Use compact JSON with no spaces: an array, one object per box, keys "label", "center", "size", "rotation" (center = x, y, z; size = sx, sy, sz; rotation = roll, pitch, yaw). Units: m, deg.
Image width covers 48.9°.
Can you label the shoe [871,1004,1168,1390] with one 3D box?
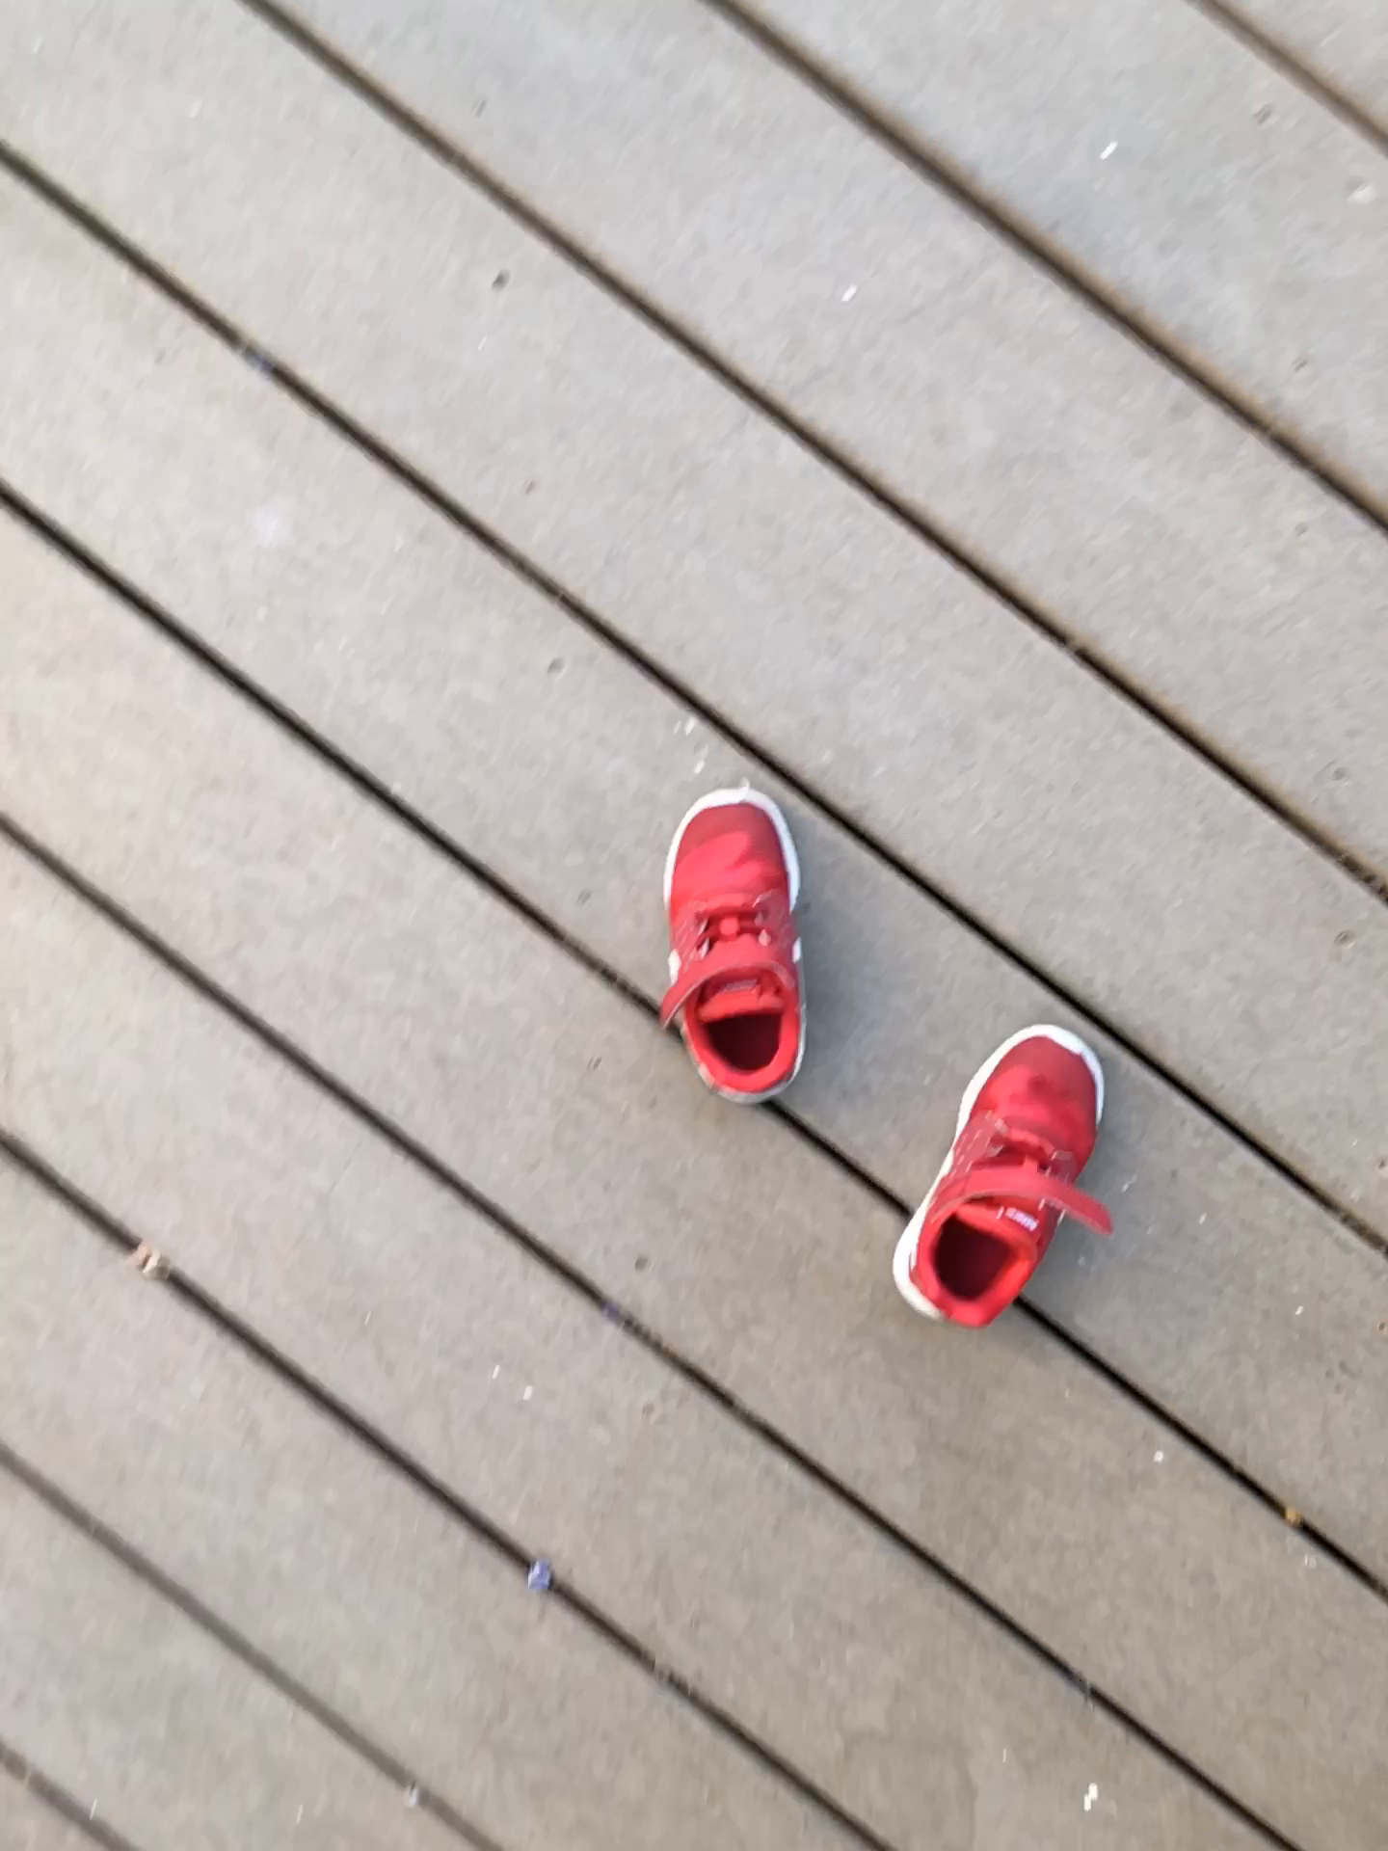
[{"label":"shoe","center":[0.158,0.131,0.759],"size":[0.069,0.070,0.164],"rotation":[26,94,1]}]

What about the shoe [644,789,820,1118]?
[{"label":"shoe","center":[0.020,0.012,0.762],"size":[0.073,0.070,0.153],"rotation":[-4,93,3]}]
